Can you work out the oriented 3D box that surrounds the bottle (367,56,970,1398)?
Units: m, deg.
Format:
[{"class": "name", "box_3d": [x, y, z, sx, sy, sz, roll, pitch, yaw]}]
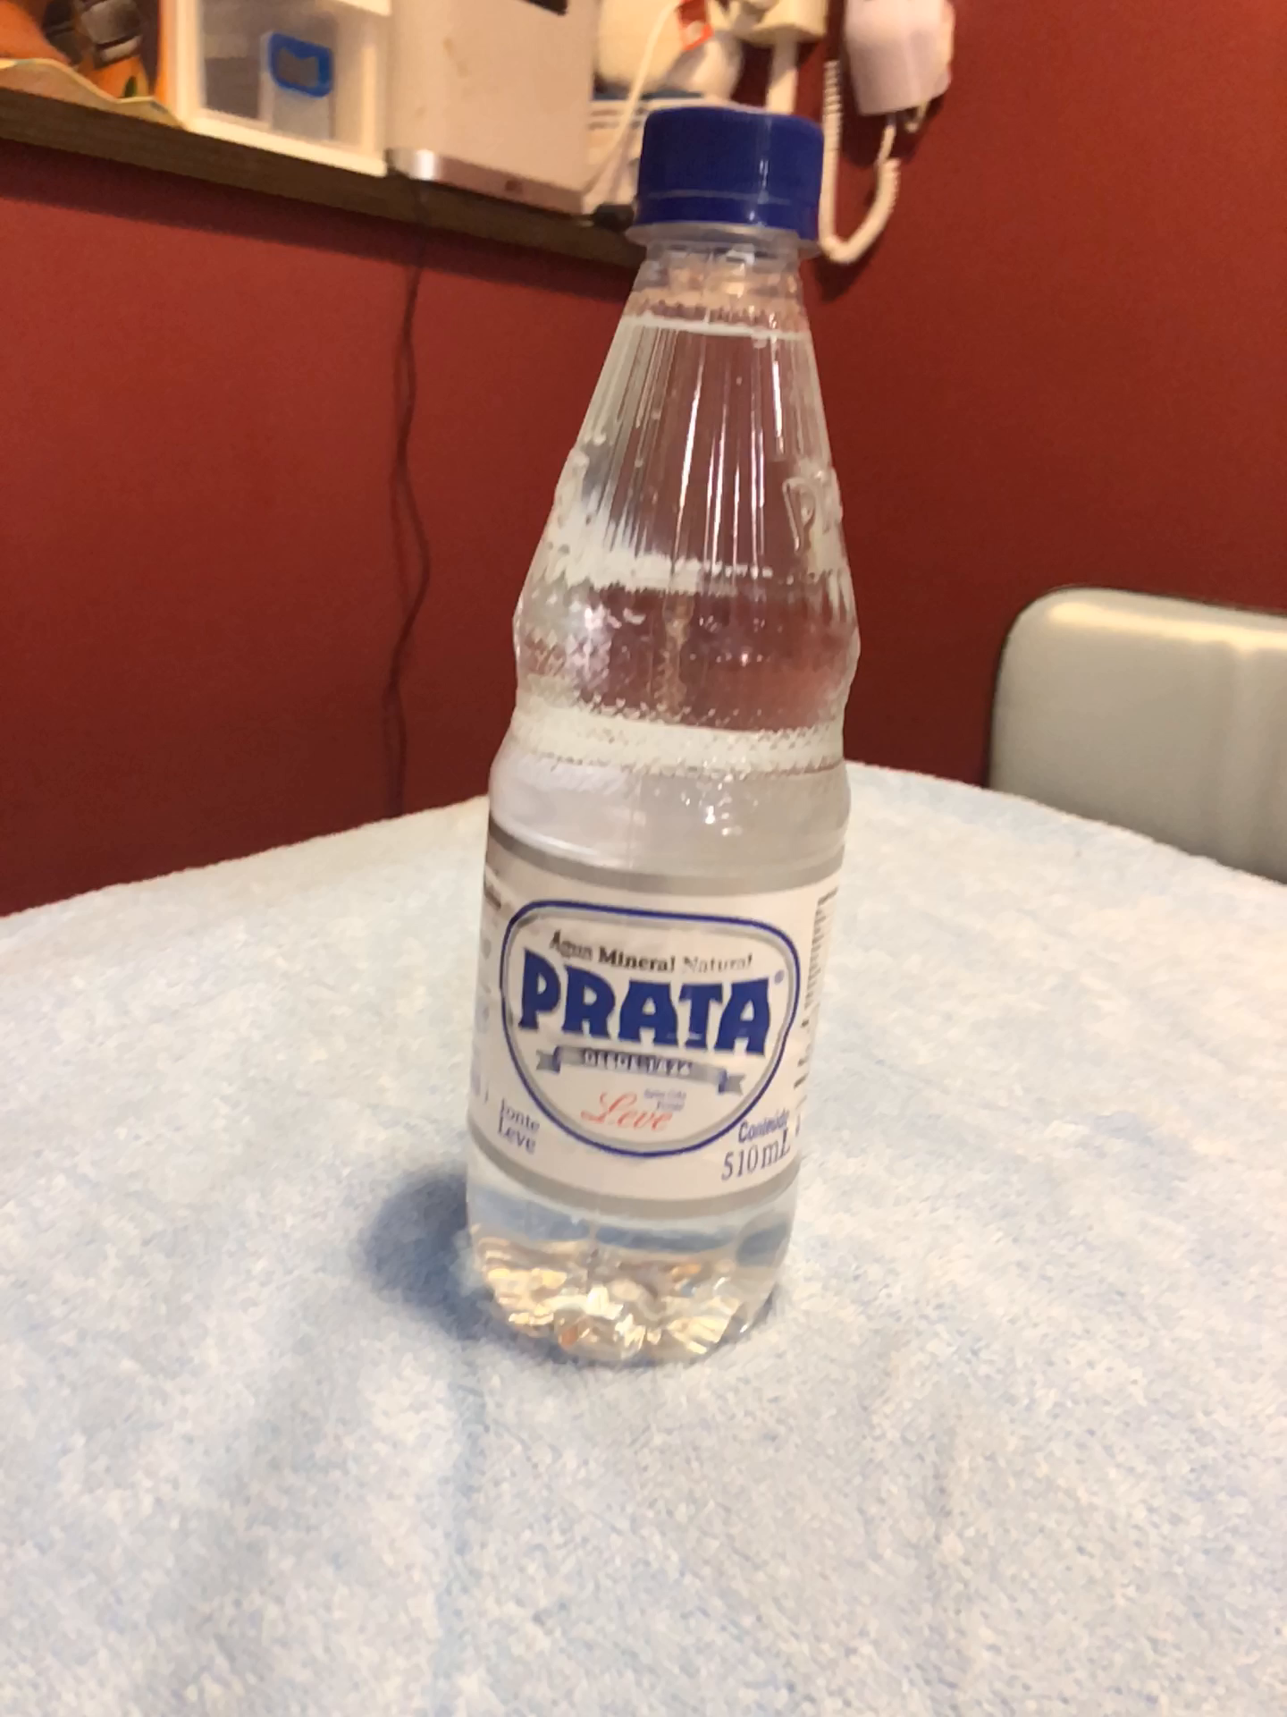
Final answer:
[{"class": "bottle", "box_3d": [-0.001, -0.018, 0.270, 0.080, 0.219, 0.070, 6, 17, 1]}]
